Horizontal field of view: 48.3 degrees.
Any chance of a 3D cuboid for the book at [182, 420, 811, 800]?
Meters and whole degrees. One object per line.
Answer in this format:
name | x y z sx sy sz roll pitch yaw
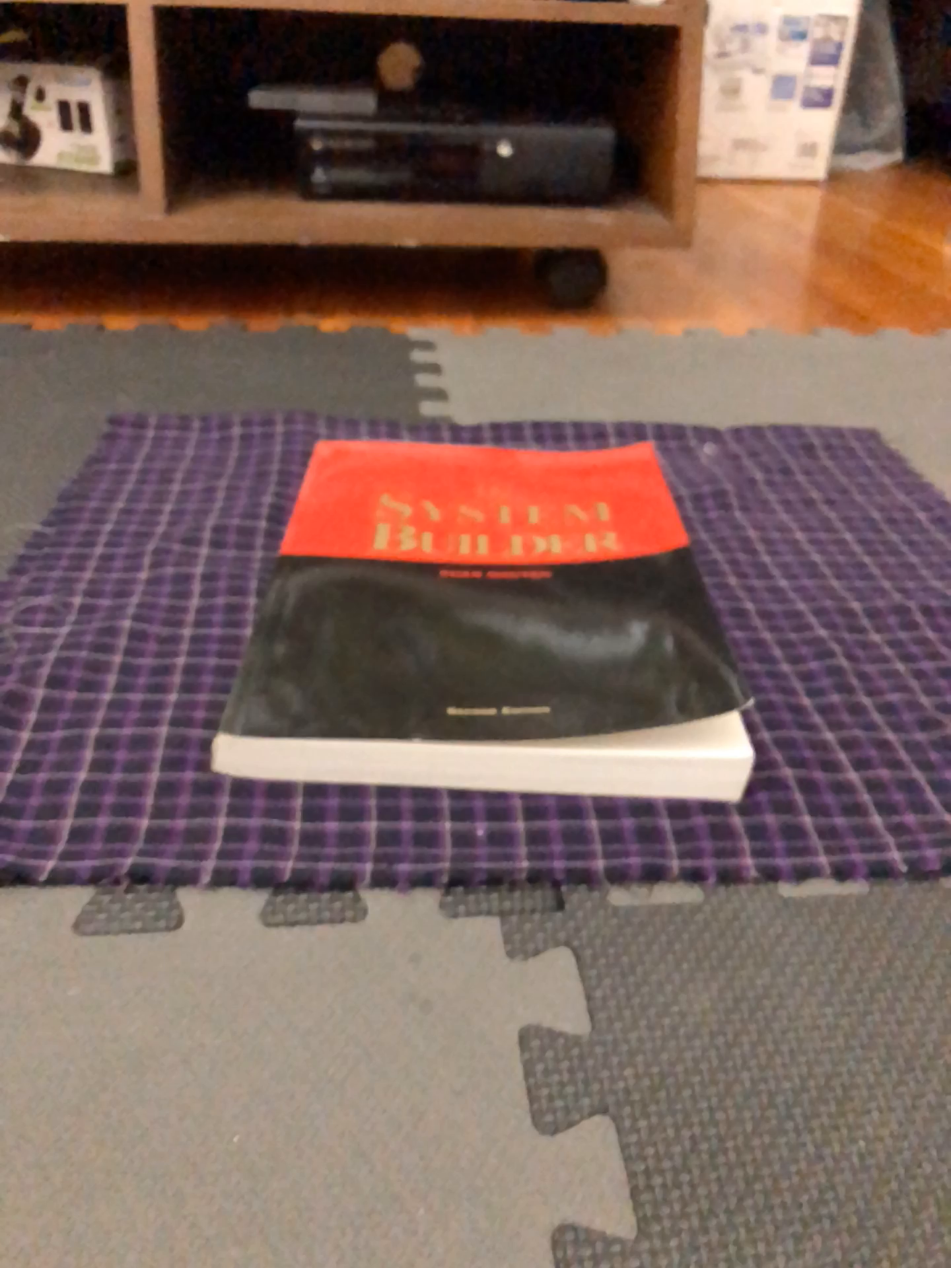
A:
book | 0.007 -0.029 0.456 0.200 0.030 0.262 2 31 -1
